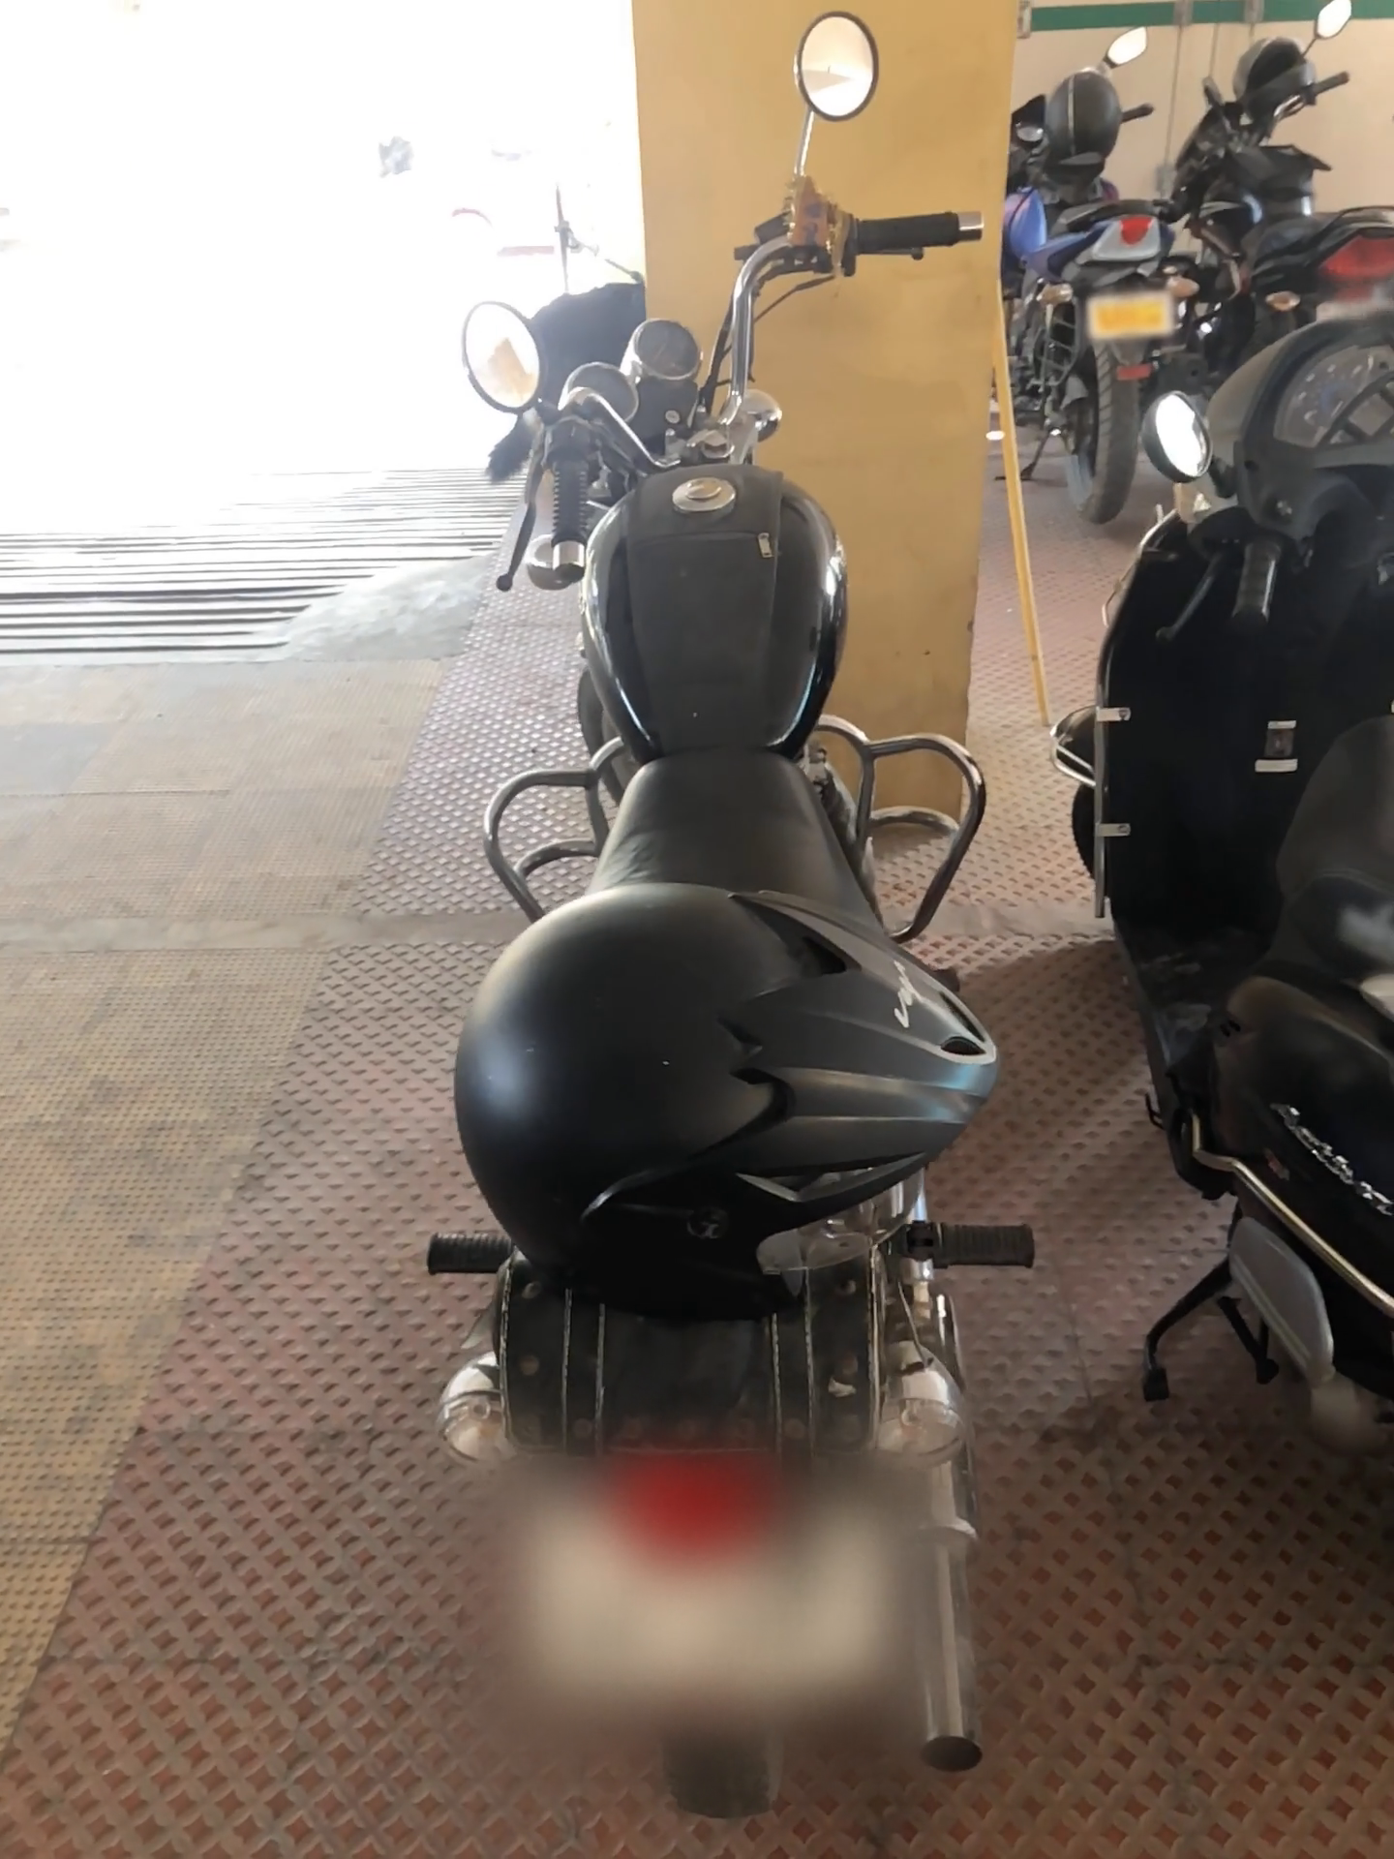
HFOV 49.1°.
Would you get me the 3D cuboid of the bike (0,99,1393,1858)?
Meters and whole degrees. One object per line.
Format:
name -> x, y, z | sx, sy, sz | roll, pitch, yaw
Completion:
bike -> -0.085, -0.165, 1.810 | 0.783, 1.177, 1.820 | -5, 35, -4
